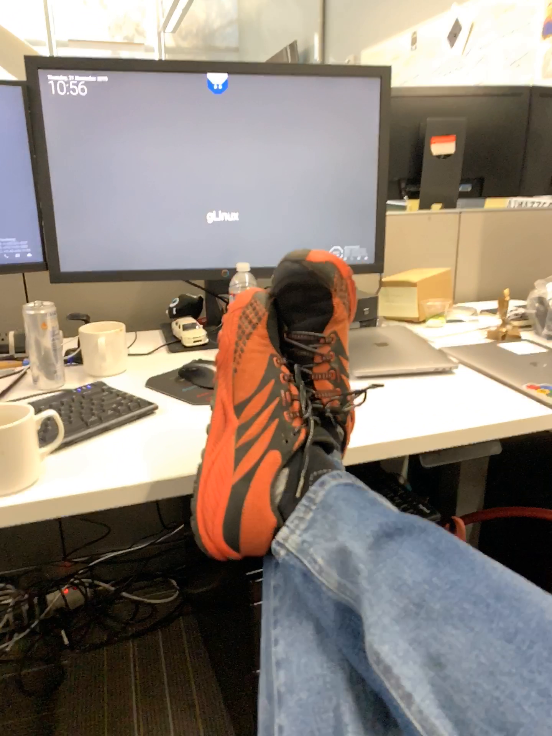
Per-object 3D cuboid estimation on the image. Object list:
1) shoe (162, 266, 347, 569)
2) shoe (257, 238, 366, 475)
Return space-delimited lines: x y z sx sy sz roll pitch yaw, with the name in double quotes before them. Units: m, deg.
"shoe" -0.013 0.046 0.587 0.132 0.290 0.091 3 -16 17
"shoe" 0.050 -0.013 0.683 0.107 0.271 0.083 1 21 13
